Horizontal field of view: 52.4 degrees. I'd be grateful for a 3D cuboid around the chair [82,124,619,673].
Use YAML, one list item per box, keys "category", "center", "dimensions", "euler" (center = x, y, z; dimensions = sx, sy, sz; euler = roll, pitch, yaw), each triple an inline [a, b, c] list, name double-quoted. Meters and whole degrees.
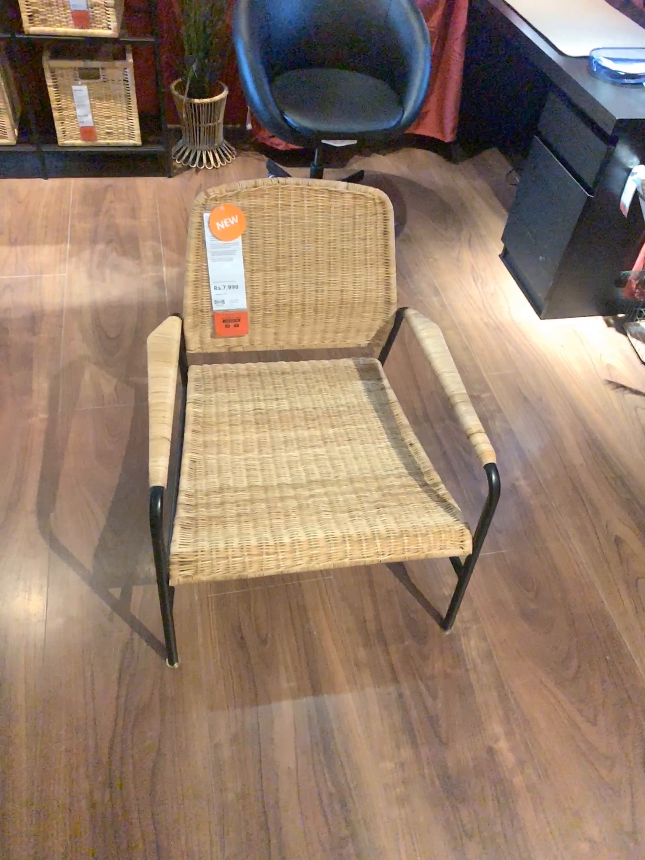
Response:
- category: "chair"
  center: [-0.043, -0.076, 1.377]
  dimensions: [0.710, 0.758, 0.792]
  euler: [-4, 49, -11]
